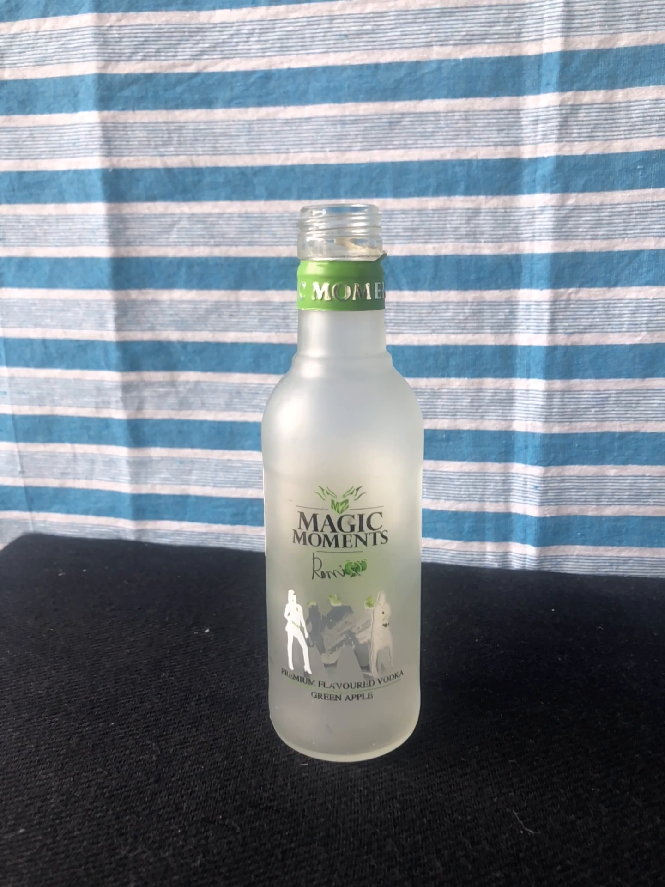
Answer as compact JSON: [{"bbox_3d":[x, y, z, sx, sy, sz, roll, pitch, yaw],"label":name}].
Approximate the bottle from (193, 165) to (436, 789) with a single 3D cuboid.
[{"bbox_3d":[-0.001,0.008,0.196,0.050,0.149,0.050,0,16,0],"label":"bottle"}]
